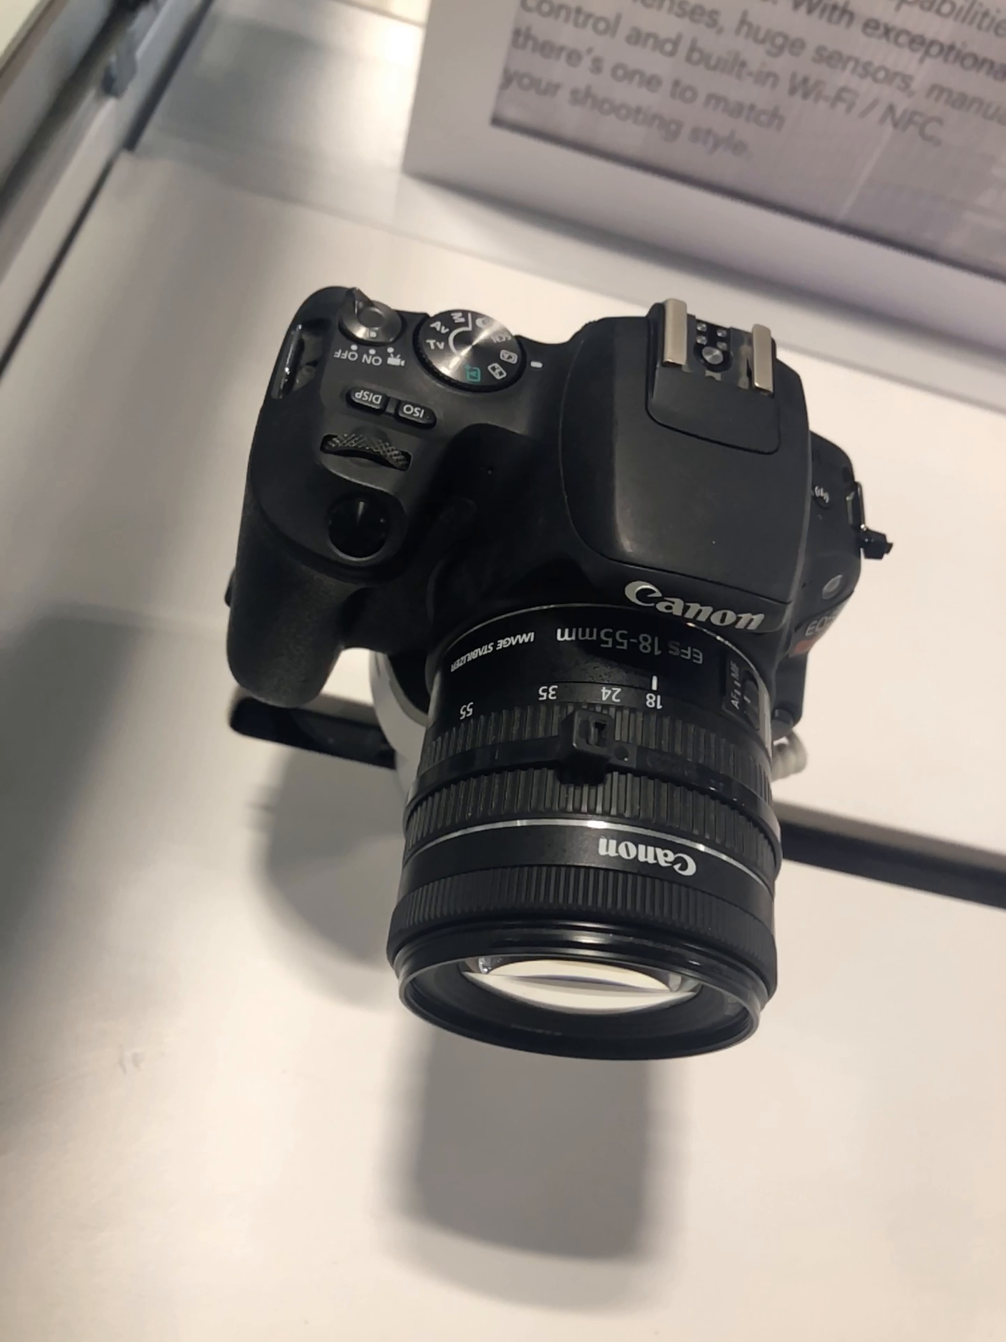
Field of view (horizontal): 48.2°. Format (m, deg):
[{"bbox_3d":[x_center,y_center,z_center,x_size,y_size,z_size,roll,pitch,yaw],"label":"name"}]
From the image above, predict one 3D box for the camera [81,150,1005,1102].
[{"bbox_3d":[0.008,0.000,0.202,0.122,0.100,0.110,13,57,-7],"label":"camera"}]
